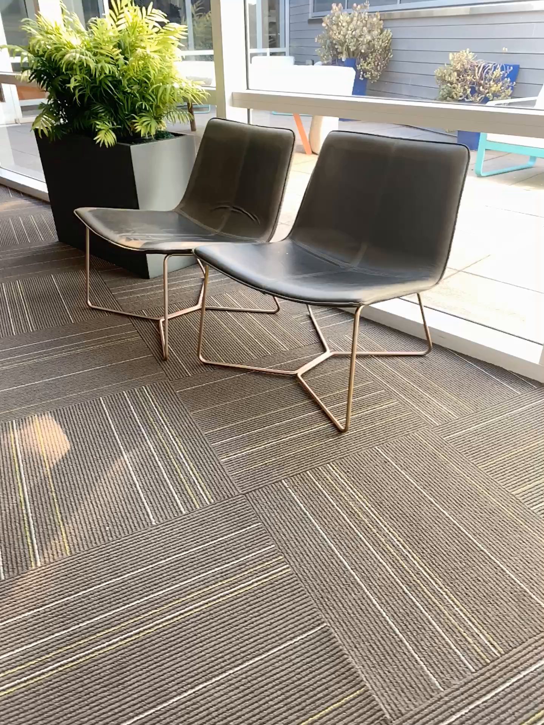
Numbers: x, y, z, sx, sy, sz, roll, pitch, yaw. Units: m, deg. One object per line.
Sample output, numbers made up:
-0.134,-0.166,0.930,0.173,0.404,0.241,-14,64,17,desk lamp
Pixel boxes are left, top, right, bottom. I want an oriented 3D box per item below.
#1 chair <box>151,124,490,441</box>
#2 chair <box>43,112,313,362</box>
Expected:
0.150,-0.329,1.767,0.703,0.676,0.692,23,38,35,chair
-0.344,-0.545,2.157,0.691,0.676,0.704,-24,37,-34,chair
